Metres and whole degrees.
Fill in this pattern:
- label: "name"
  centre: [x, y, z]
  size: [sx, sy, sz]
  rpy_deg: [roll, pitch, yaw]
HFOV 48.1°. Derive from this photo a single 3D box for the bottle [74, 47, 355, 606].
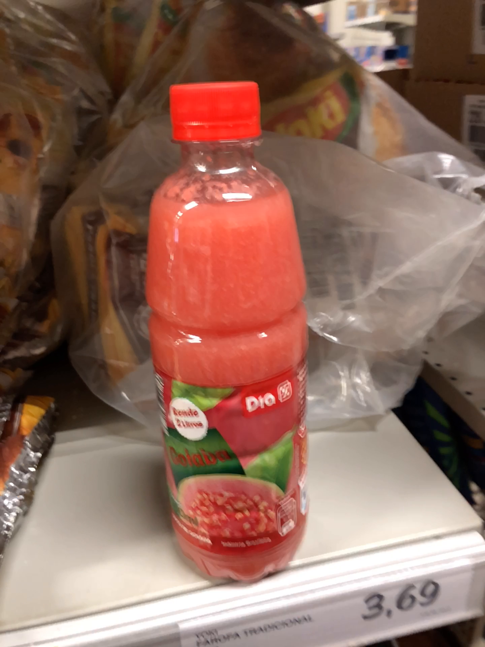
- label: "bottle"
  centre: [-0.005, 0.004, 0.235]
  size: [0.070, 0.219, 0.070]
  rpy_deg: [-1, 25, 1]
